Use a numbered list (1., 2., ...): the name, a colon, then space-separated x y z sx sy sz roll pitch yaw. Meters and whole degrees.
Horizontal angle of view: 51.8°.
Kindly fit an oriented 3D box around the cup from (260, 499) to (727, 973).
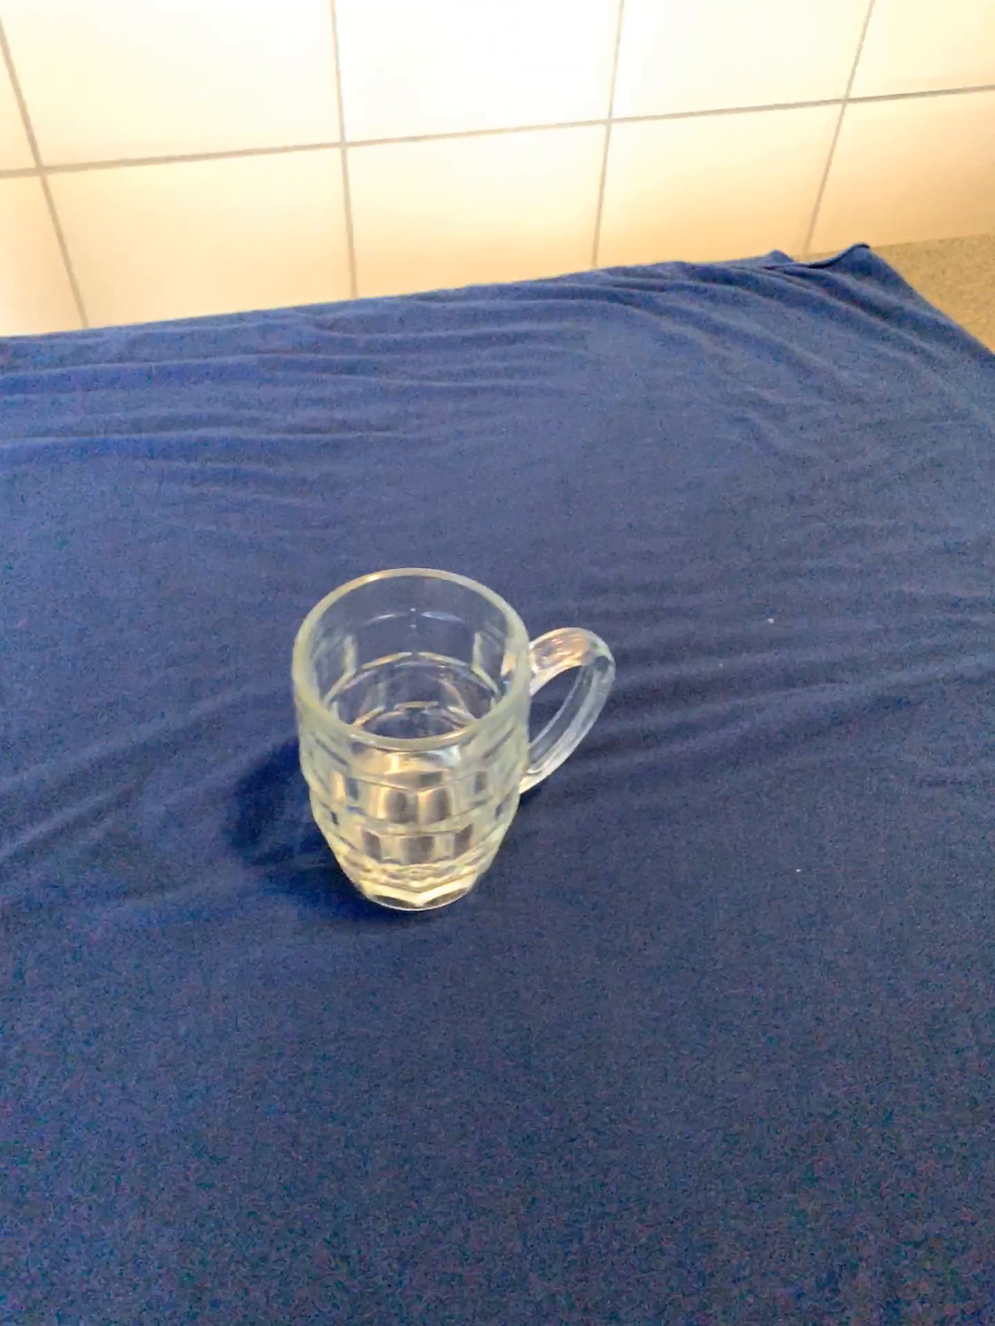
1. cup: -0.005 0.025 0.353 0.120 0.110 0.080 -18 51 -18
